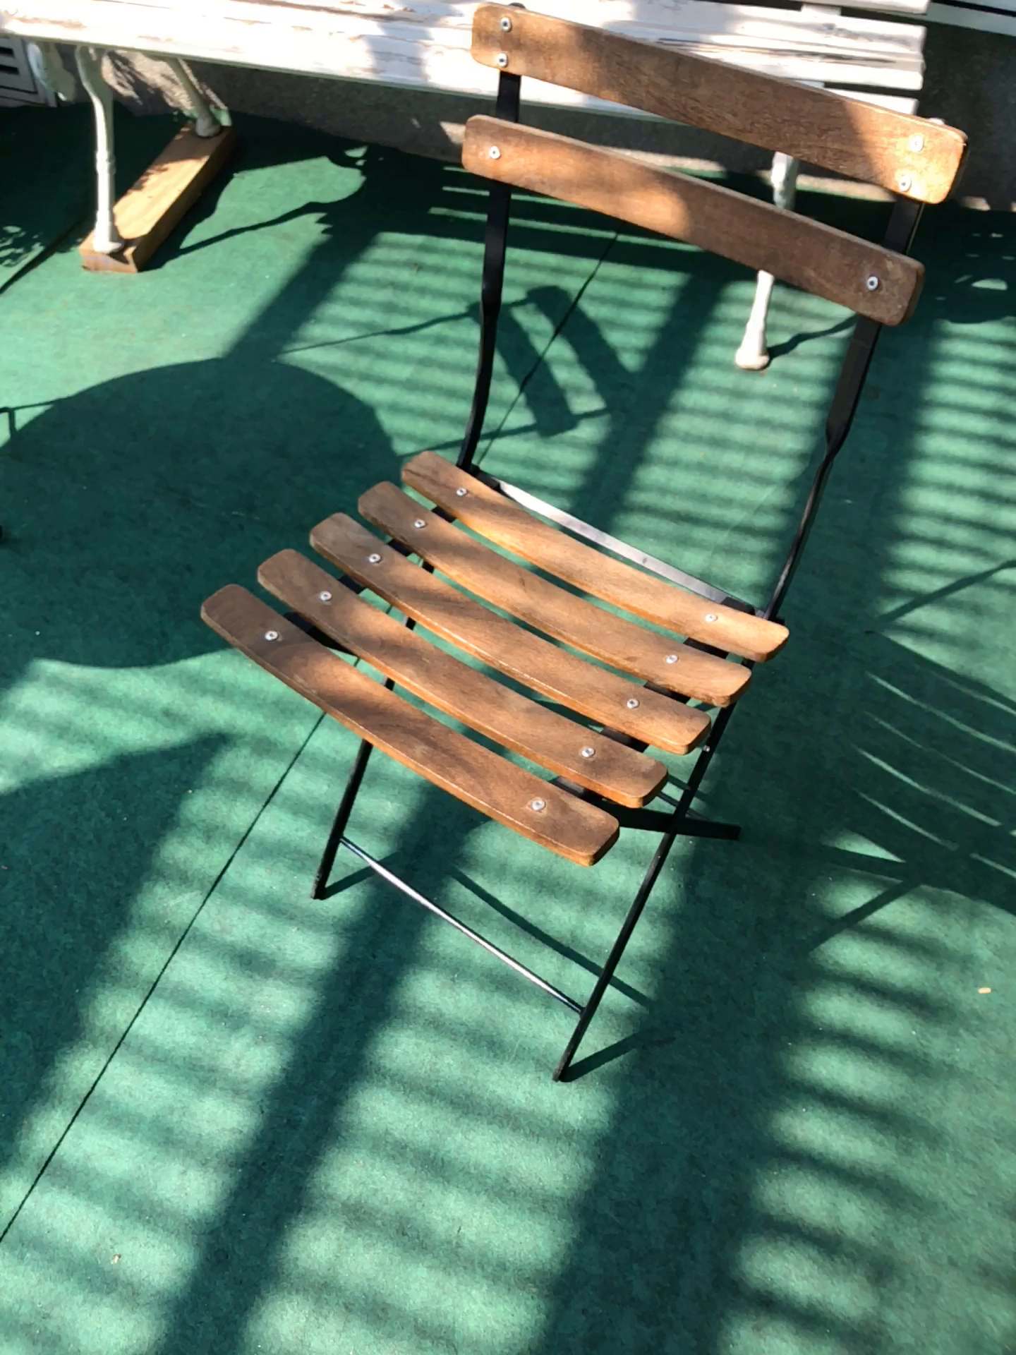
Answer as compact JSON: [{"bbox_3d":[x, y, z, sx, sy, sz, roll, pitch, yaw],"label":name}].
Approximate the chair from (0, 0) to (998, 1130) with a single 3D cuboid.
[{"bbox_3d":[-0.005,-0.060,0.838,0.391,0.656,0.402,30,56,24],"label":"chair"}]
